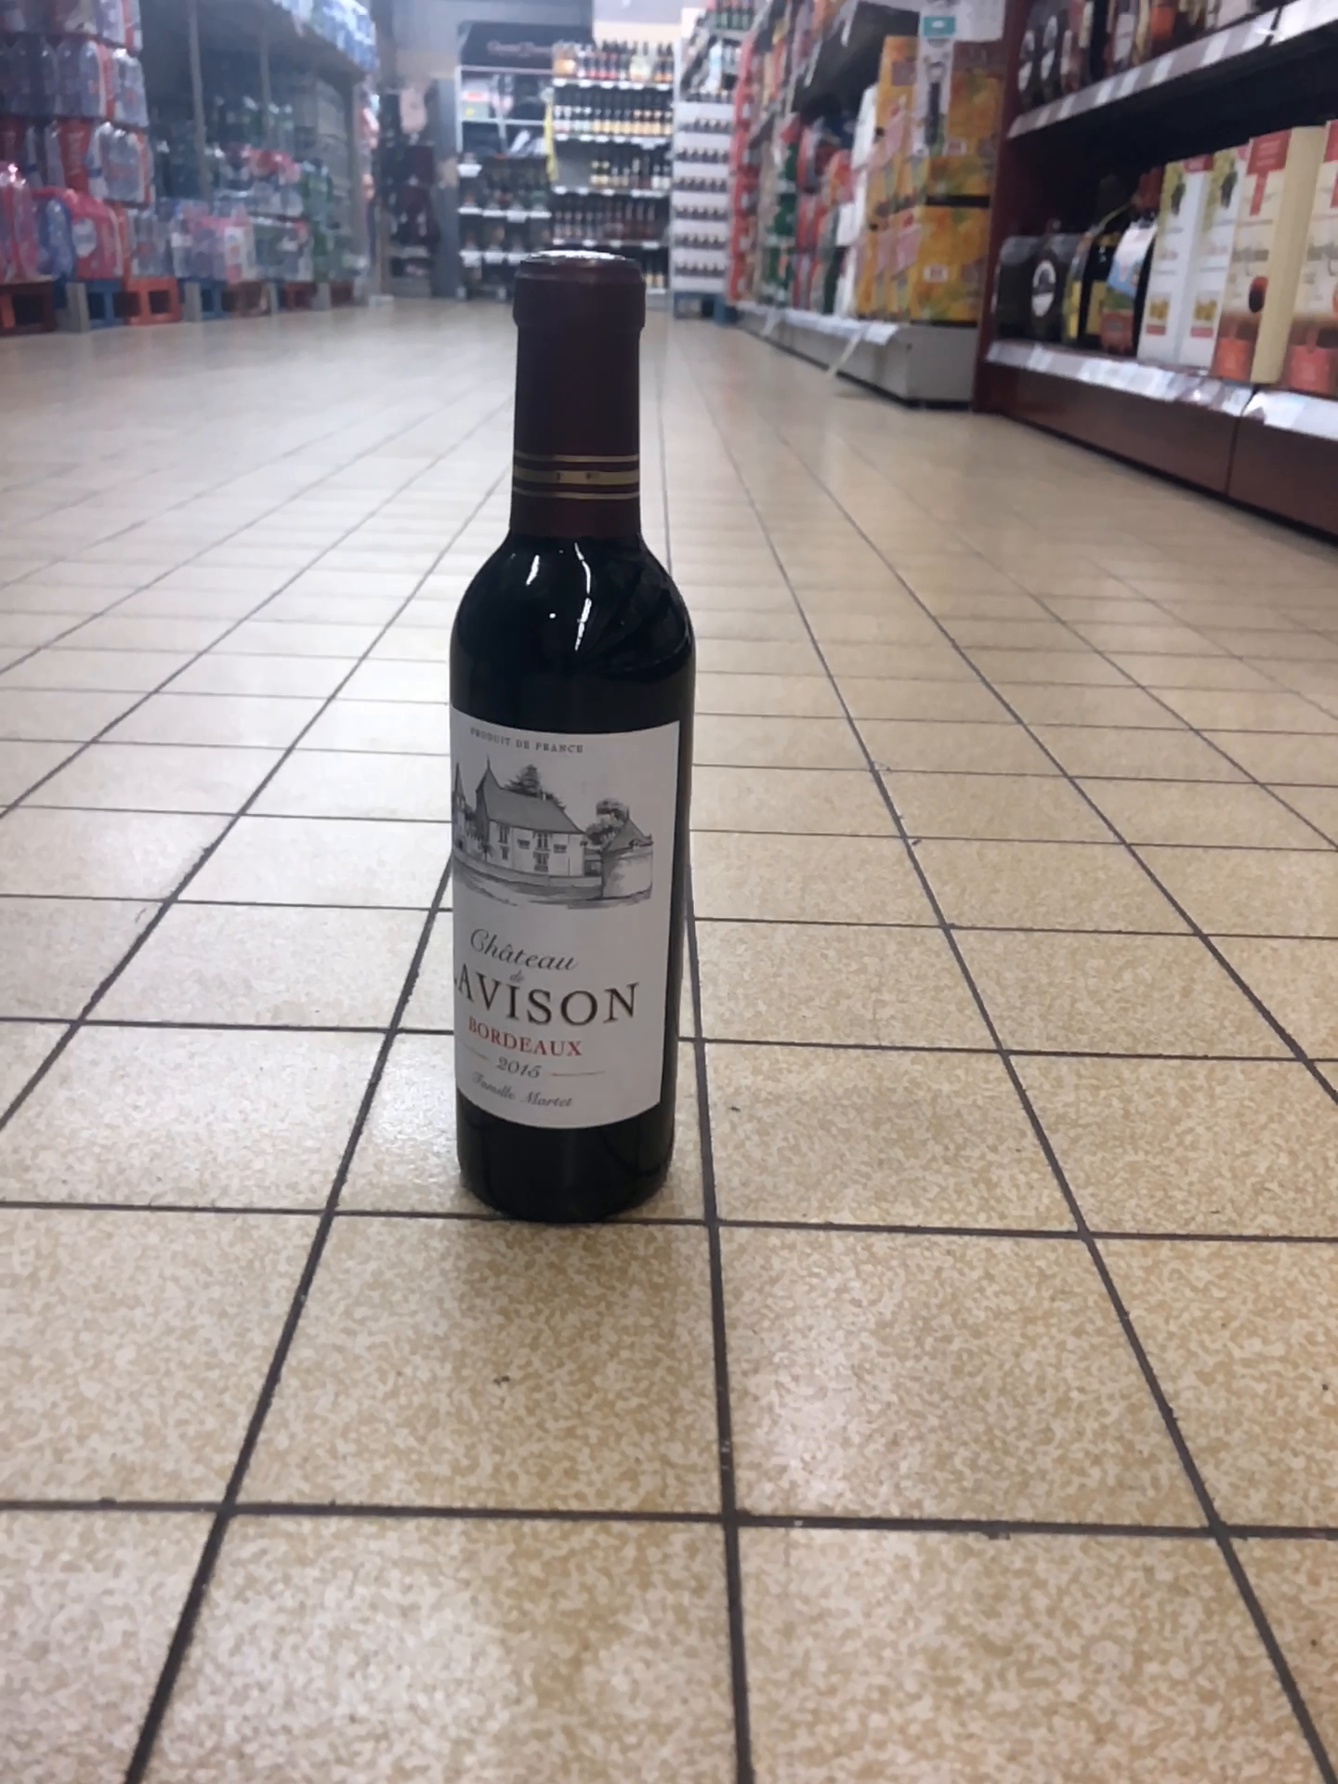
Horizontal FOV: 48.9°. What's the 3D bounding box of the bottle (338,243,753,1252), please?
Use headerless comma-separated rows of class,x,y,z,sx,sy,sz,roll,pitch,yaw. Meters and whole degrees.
bottle,-0.028,-0.031,0.348,0.070,0.219,0.060,8,22,14
